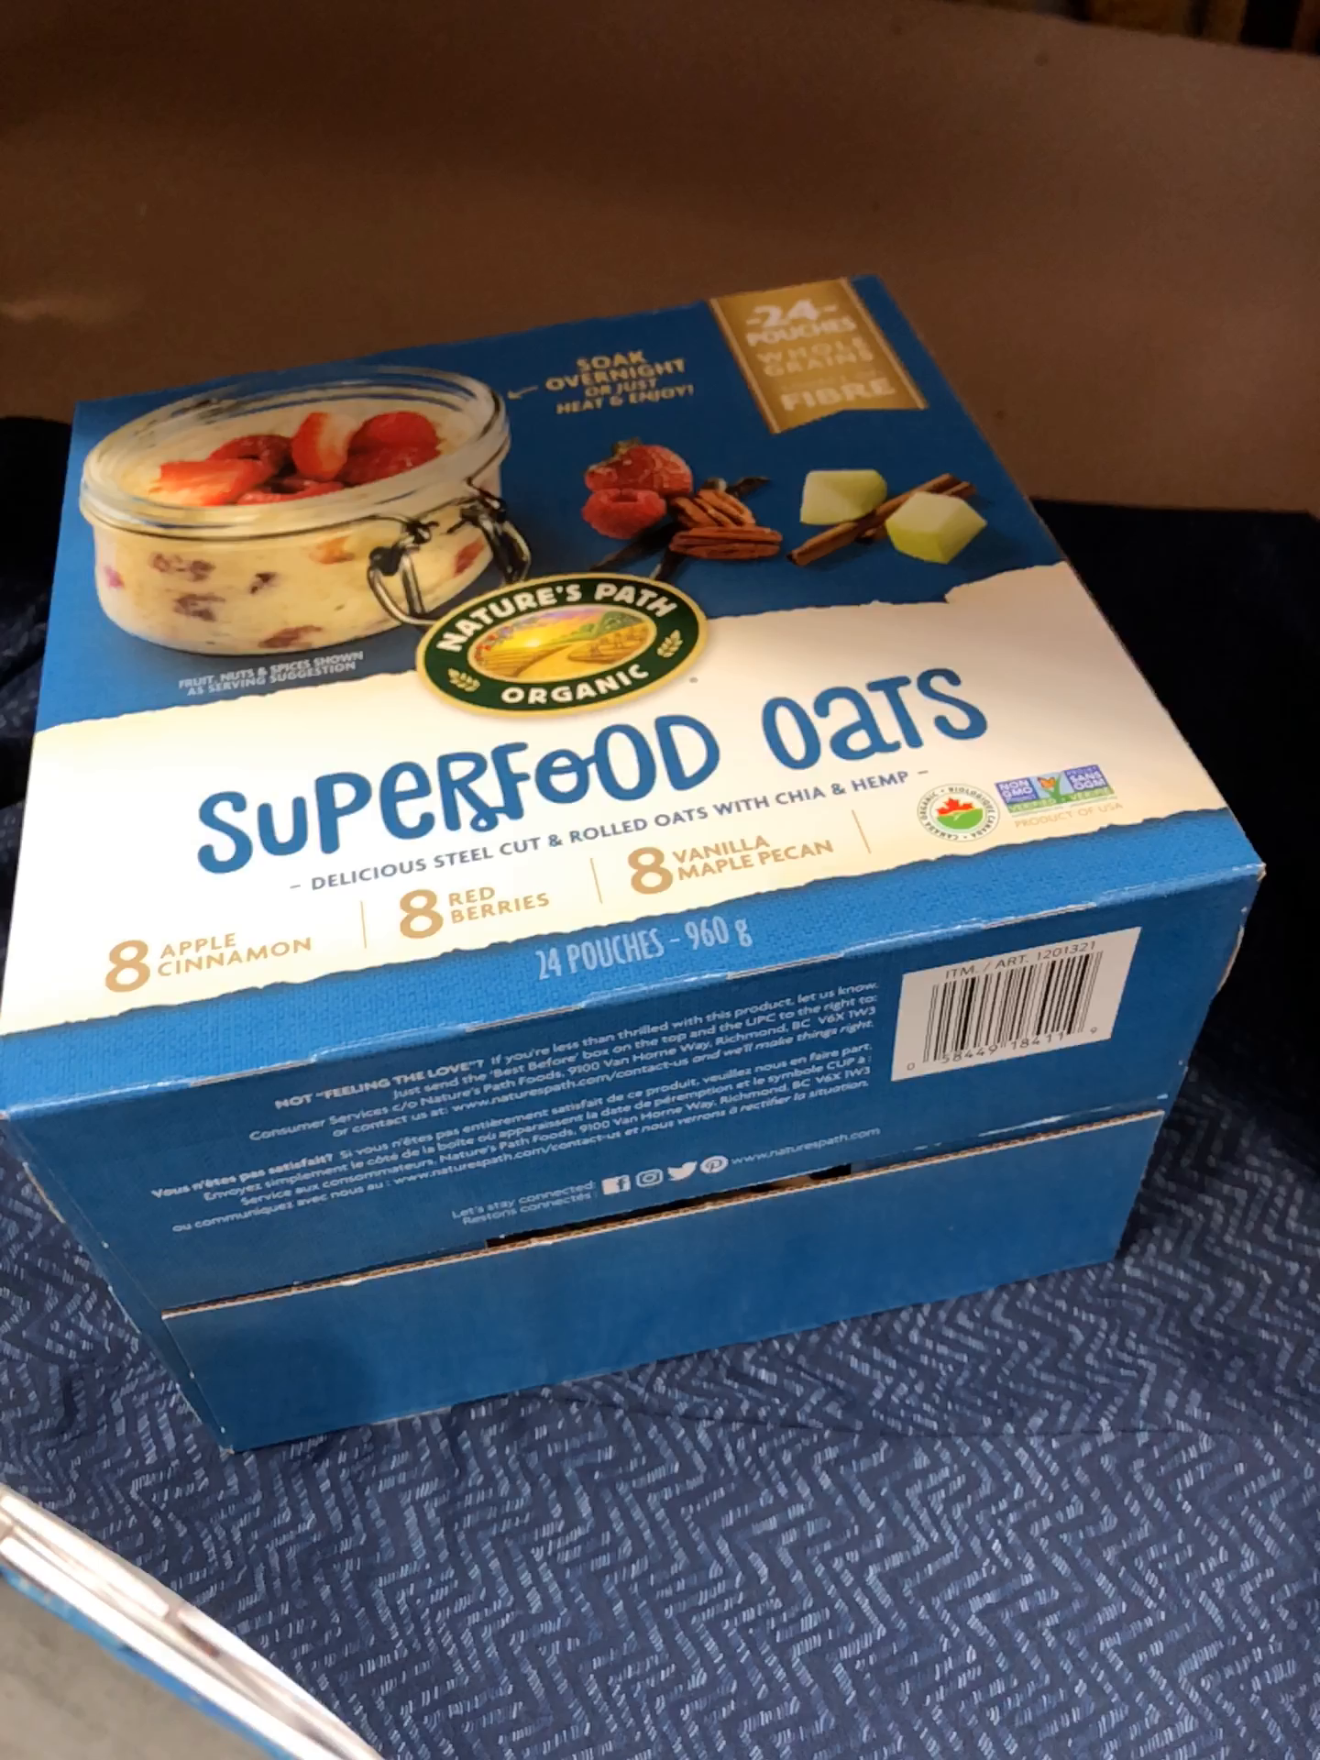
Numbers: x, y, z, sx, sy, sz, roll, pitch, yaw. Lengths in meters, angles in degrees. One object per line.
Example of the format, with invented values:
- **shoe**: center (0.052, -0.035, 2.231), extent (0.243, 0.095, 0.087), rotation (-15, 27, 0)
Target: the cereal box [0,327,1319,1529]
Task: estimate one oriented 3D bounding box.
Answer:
- **cereal box**: center (-0.017, -0.003, 0.394), extent (0.250, 0.150, 0.241), rotation (-10, 48, -7)
